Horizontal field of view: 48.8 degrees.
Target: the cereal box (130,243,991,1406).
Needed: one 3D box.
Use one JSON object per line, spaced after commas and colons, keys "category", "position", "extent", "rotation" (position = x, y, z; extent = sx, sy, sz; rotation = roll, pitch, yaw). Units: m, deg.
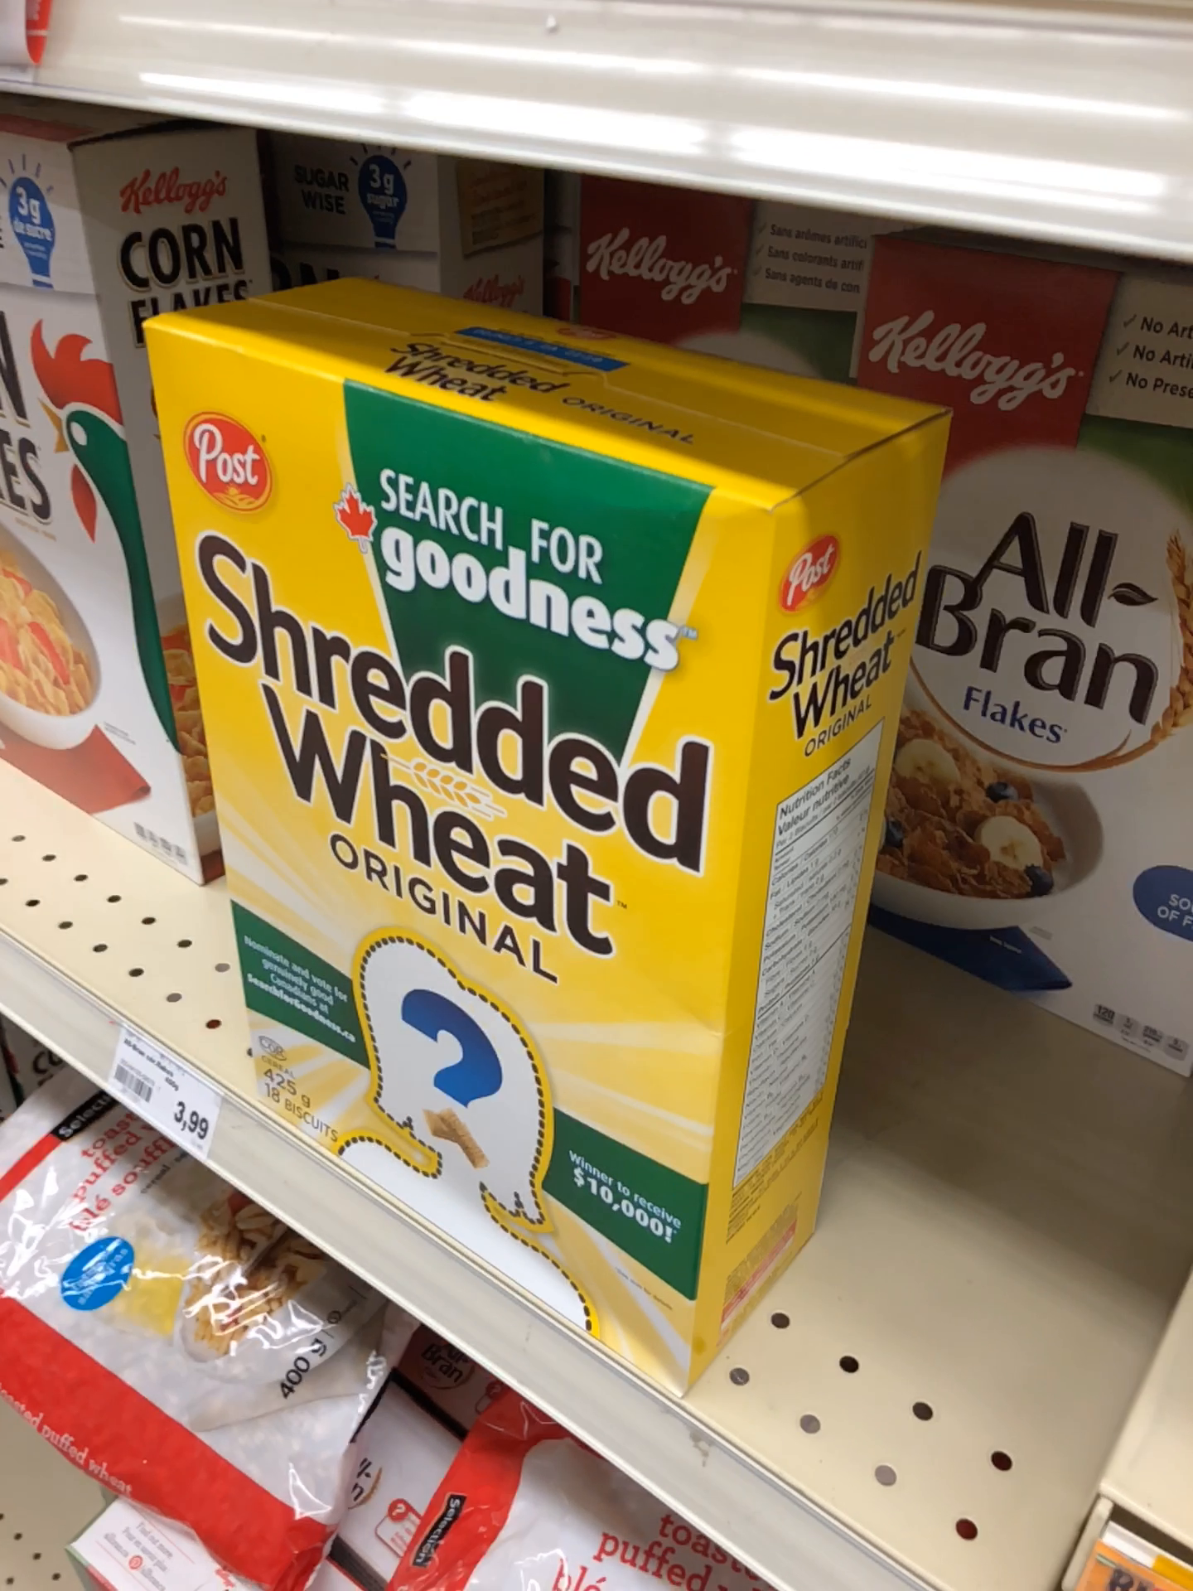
{"category": "cereal box", "position": [-0.019, 0.008, 0.392], "extent": [0.201, 0.288, 0.080], "rotation": [23, 38, 30]}
